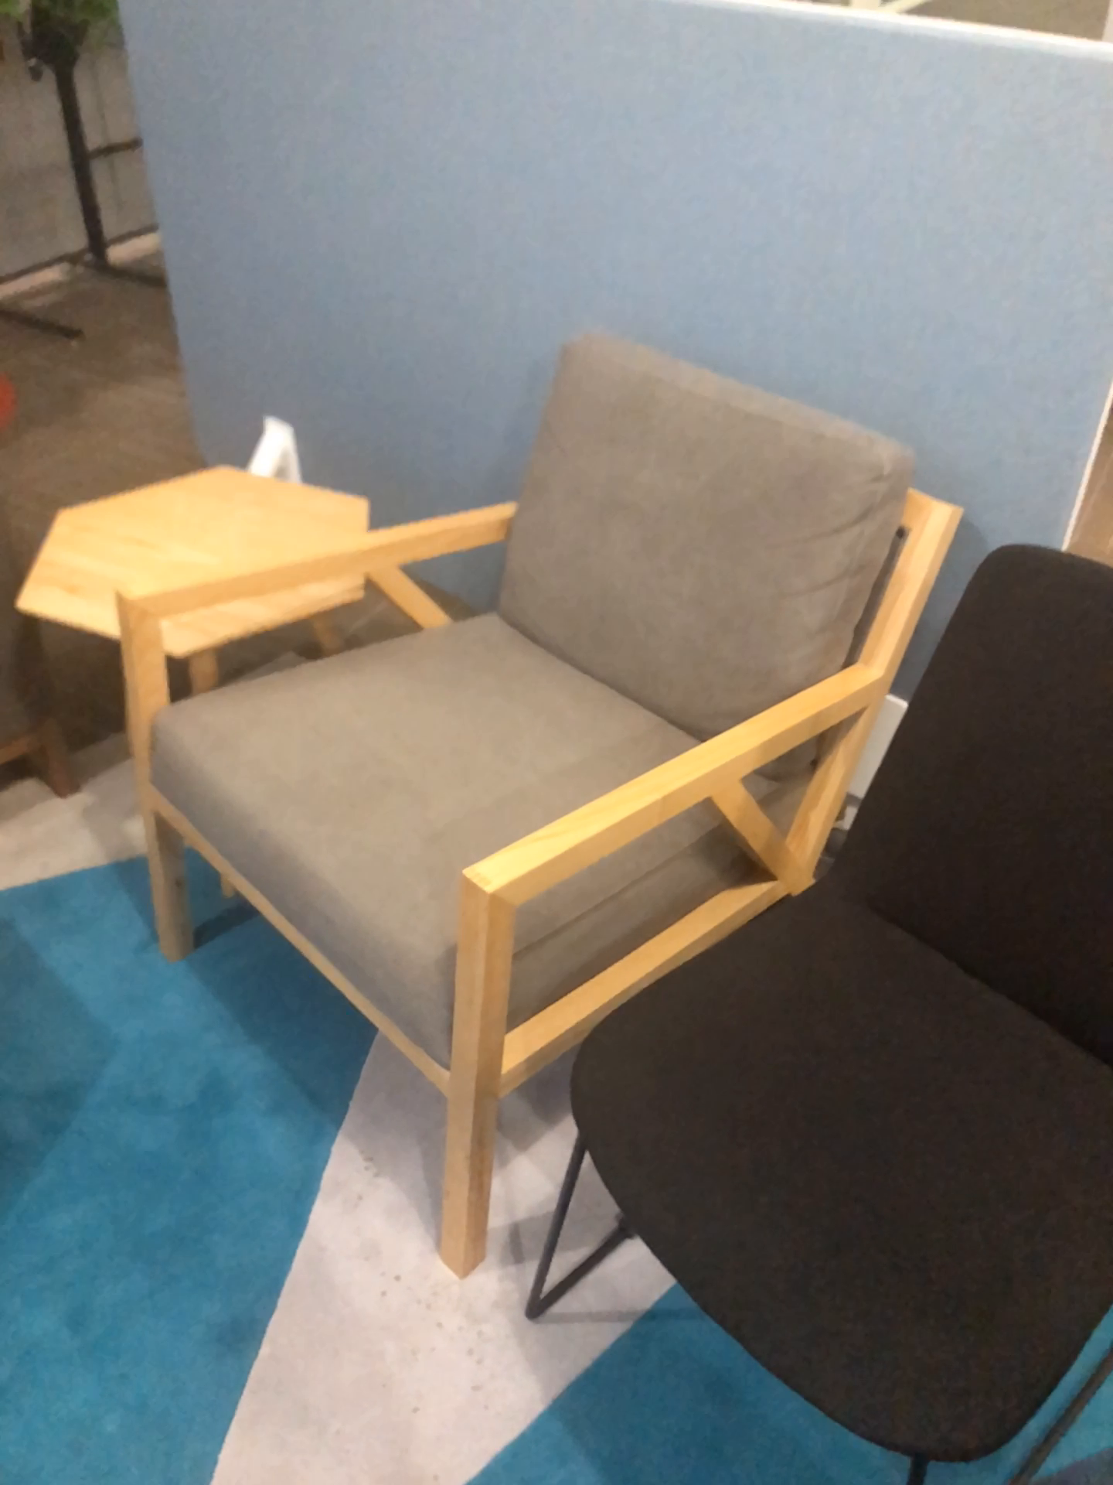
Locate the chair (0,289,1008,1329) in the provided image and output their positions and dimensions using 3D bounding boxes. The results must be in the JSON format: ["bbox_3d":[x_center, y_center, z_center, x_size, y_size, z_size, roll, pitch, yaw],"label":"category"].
[{"bbox_3d":[-0.066,-0.004,1.532,0.845,0.744,0.712,-30,47,-33],"label":"chair"}]
